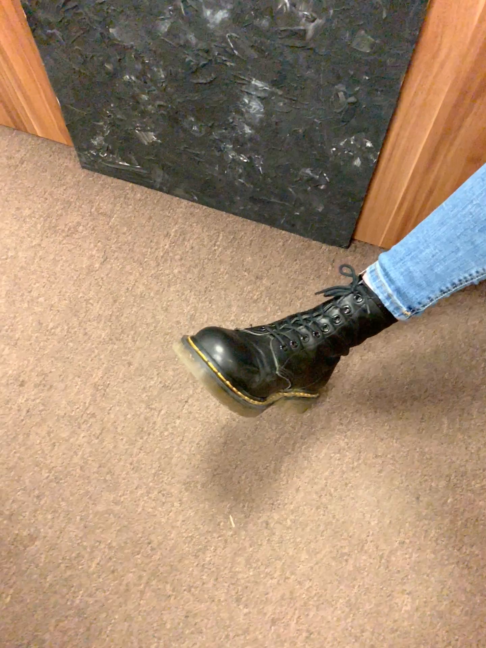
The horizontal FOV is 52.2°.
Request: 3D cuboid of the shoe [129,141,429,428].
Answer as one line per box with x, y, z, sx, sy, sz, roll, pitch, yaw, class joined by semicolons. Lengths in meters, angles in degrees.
0.081;-0.010;0.587;0.230;0.370;0.120;-42;70;12;shoe
